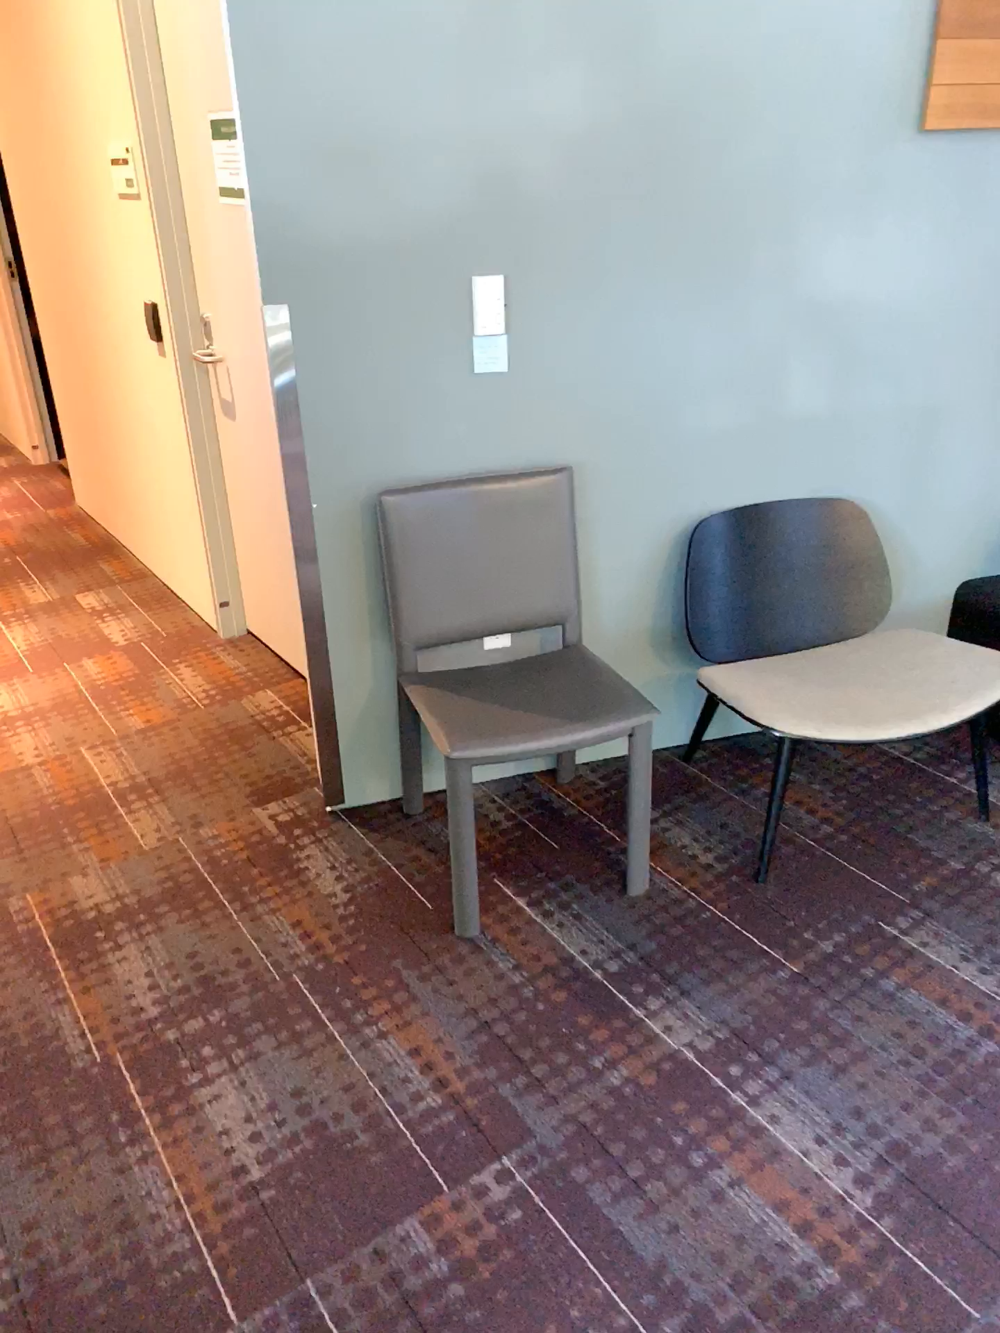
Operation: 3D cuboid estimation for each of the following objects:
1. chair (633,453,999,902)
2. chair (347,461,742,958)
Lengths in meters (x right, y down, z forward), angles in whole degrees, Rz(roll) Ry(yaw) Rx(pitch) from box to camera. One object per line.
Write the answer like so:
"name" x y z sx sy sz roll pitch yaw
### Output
"chair" 0.877 -0.025 2.689 0.790 0.835 0.714 -11 27 -17
"chair" 0.072 0.049 2.387 0.640 0.835 0.694 -11 27 -17
